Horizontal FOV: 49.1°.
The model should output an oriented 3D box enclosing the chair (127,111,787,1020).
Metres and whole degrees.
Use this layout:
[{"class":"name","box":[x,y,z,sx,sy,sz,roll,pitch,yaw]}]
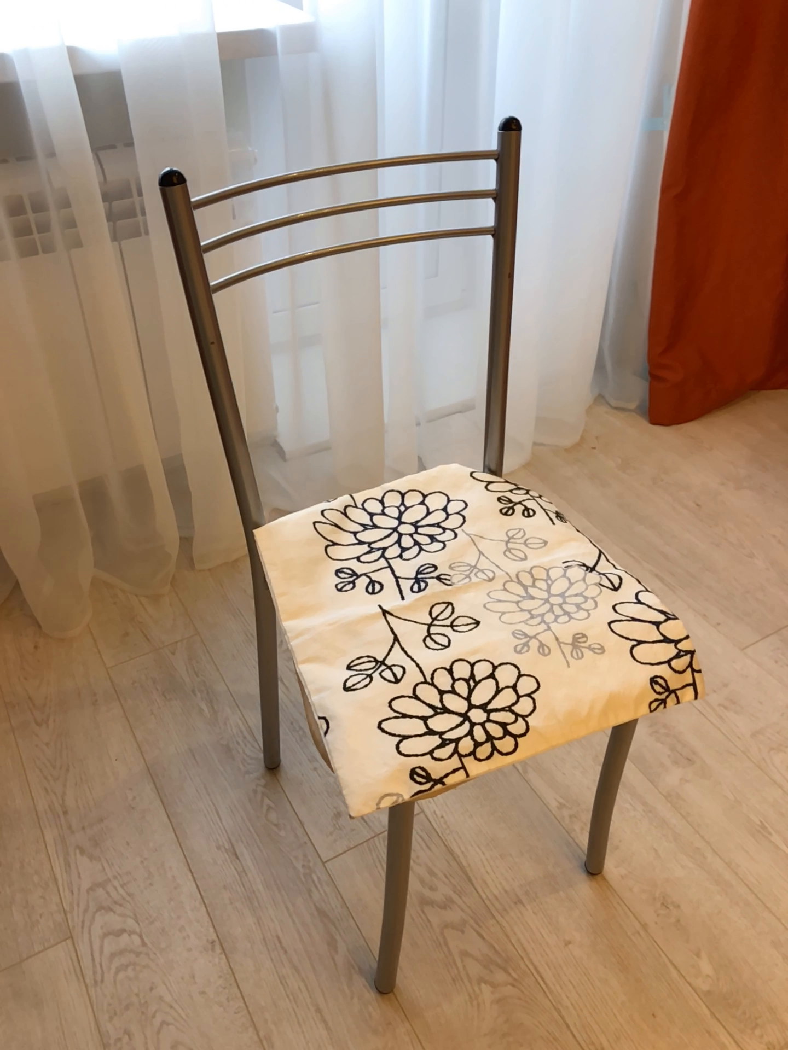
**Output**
[{"class":"chair","box":[0.057,0.053,0.940,0.421,0.794,0.442,-20,43,-23]}]
